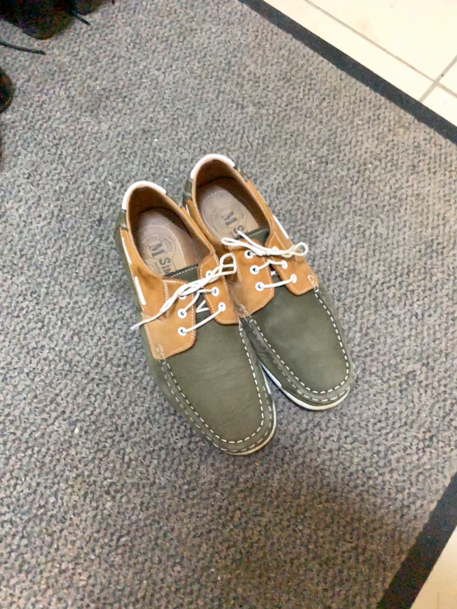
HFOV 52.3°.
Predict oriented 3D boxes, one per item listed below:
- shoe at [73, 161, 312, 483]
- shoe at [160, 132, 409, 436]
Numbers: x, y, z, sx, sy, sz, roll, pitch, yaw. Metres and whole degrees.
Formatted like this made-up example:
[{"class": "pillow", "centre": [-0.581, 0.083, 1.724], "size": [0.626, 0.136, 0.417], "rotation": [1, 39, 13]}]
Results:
[{"class": "shoe", "centre": [-0.042, 0.020, 0.462], "size": [0.107, 0.130, 0.270], "rotation": [-23, 74, -11]}, {"class": "shoe", "centre": [0.040, -0.016, 0.485], "size": [0.107, 0.130, 0.270], "rotation": [-26, 75, -12]}]
